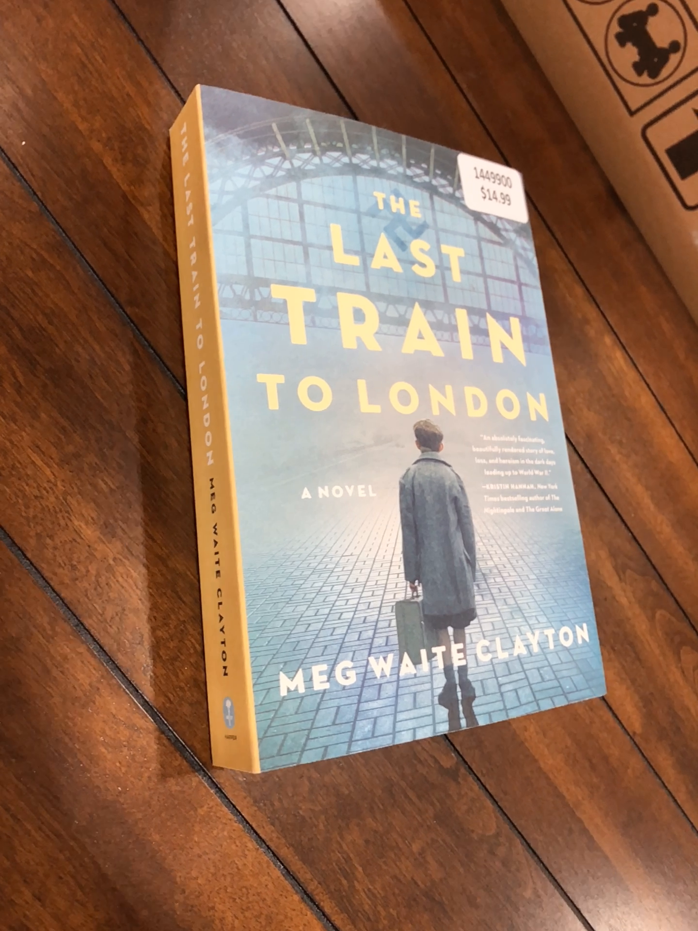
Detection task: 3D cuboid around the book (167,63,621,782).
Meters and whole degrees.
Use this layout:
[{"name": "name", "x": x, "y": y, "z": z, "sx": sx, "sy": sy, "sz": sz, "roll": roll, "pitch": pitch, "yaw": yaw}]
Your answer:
[{"name": "book", "x": 0.017, "y": -0.016, "z": 0.288, "sx": 0.151, "sy": 0.041, "sz": 0.220, "roll": 2, "pitch": 78, "yaw": -31}]
